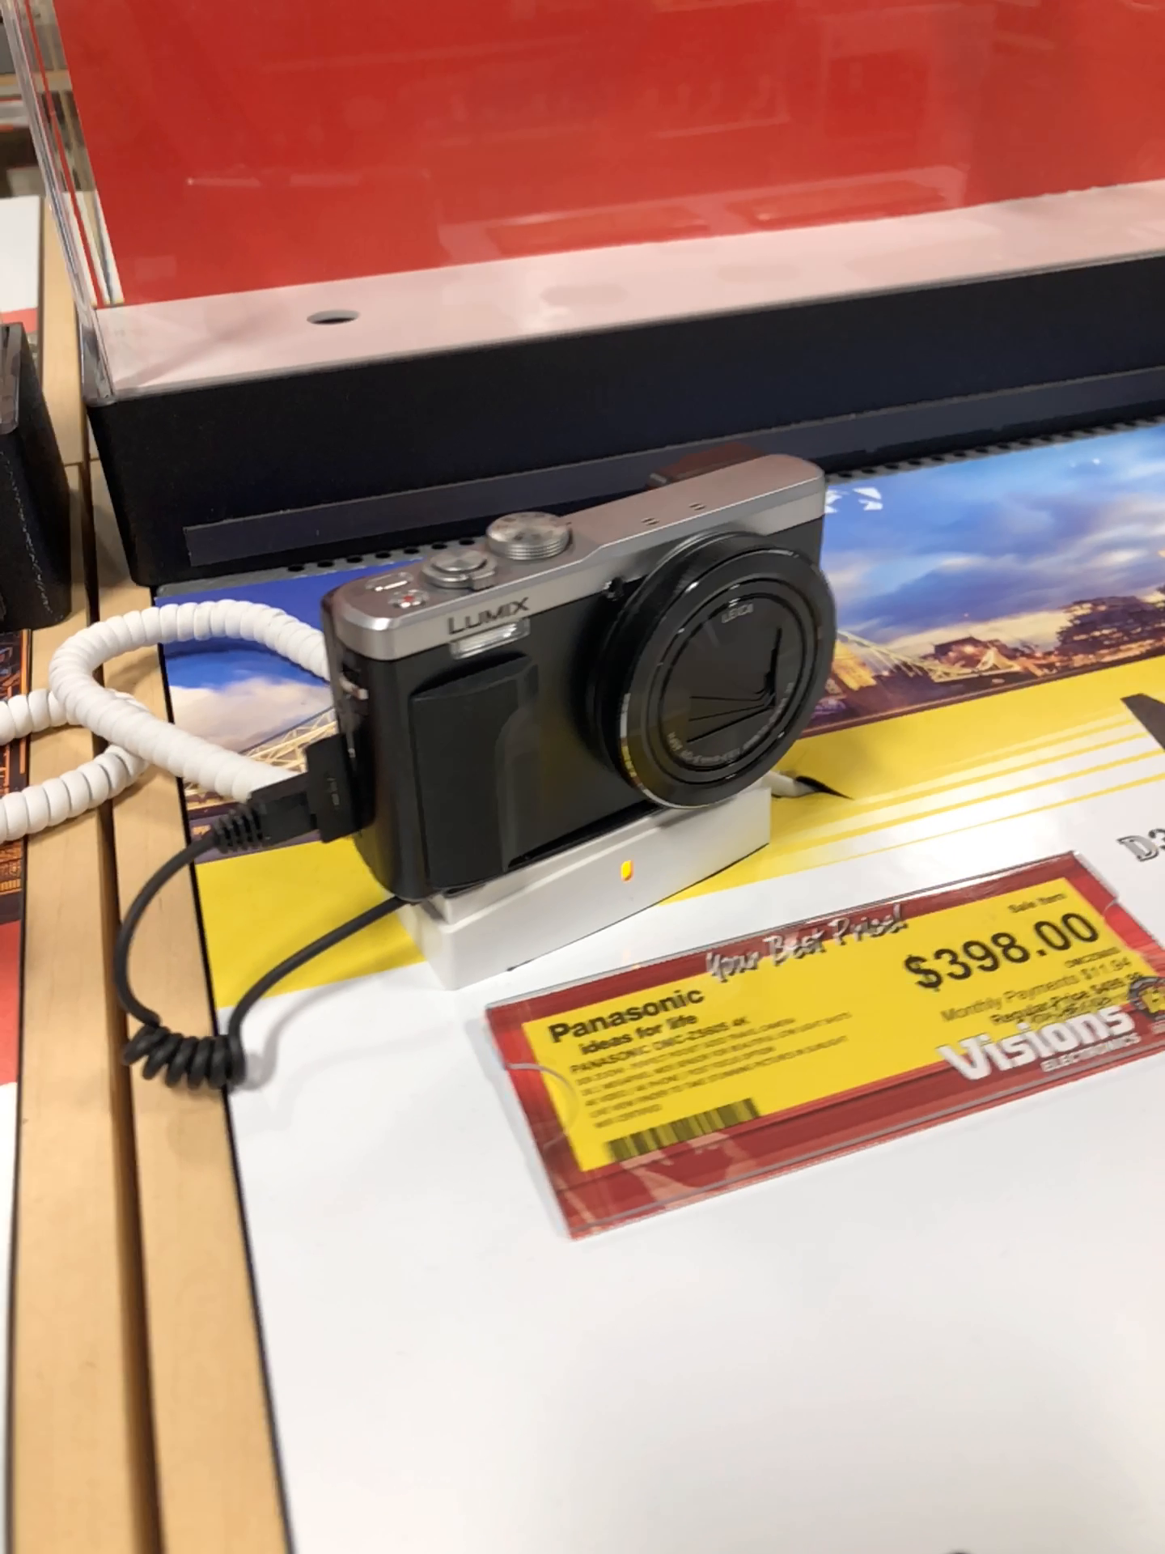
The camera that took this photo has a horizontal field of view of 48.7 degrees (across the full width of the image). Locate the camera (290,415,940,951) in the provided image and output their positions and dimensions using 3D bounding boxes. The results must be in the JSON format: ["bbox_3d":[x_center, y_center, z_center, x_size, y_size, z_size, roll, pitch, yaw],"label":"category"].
[{"bbox_3d":[0.011,-0.024,0.256,0.120,0.060,0.040,-23,39,-27],"label":"camera"}]
